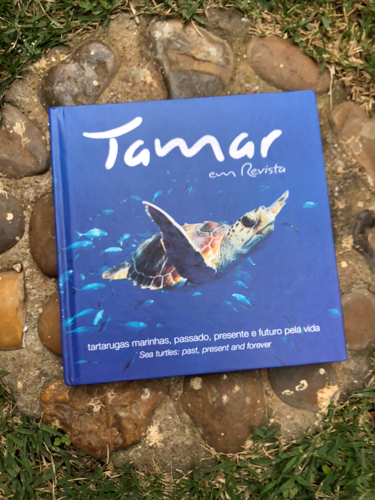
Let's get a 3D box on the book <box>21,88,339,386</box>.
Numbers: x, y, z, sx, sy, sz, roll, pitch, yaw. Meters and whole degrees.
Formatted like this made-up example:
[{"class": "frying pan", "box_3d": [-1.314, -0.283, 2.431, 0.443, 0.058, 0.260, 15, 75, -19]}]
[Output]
[{"class": "book", "box_3d": [-0.007, -0.010, 0.260, 0.179, 0.020, 0.166, -4, 85, -1]}]
